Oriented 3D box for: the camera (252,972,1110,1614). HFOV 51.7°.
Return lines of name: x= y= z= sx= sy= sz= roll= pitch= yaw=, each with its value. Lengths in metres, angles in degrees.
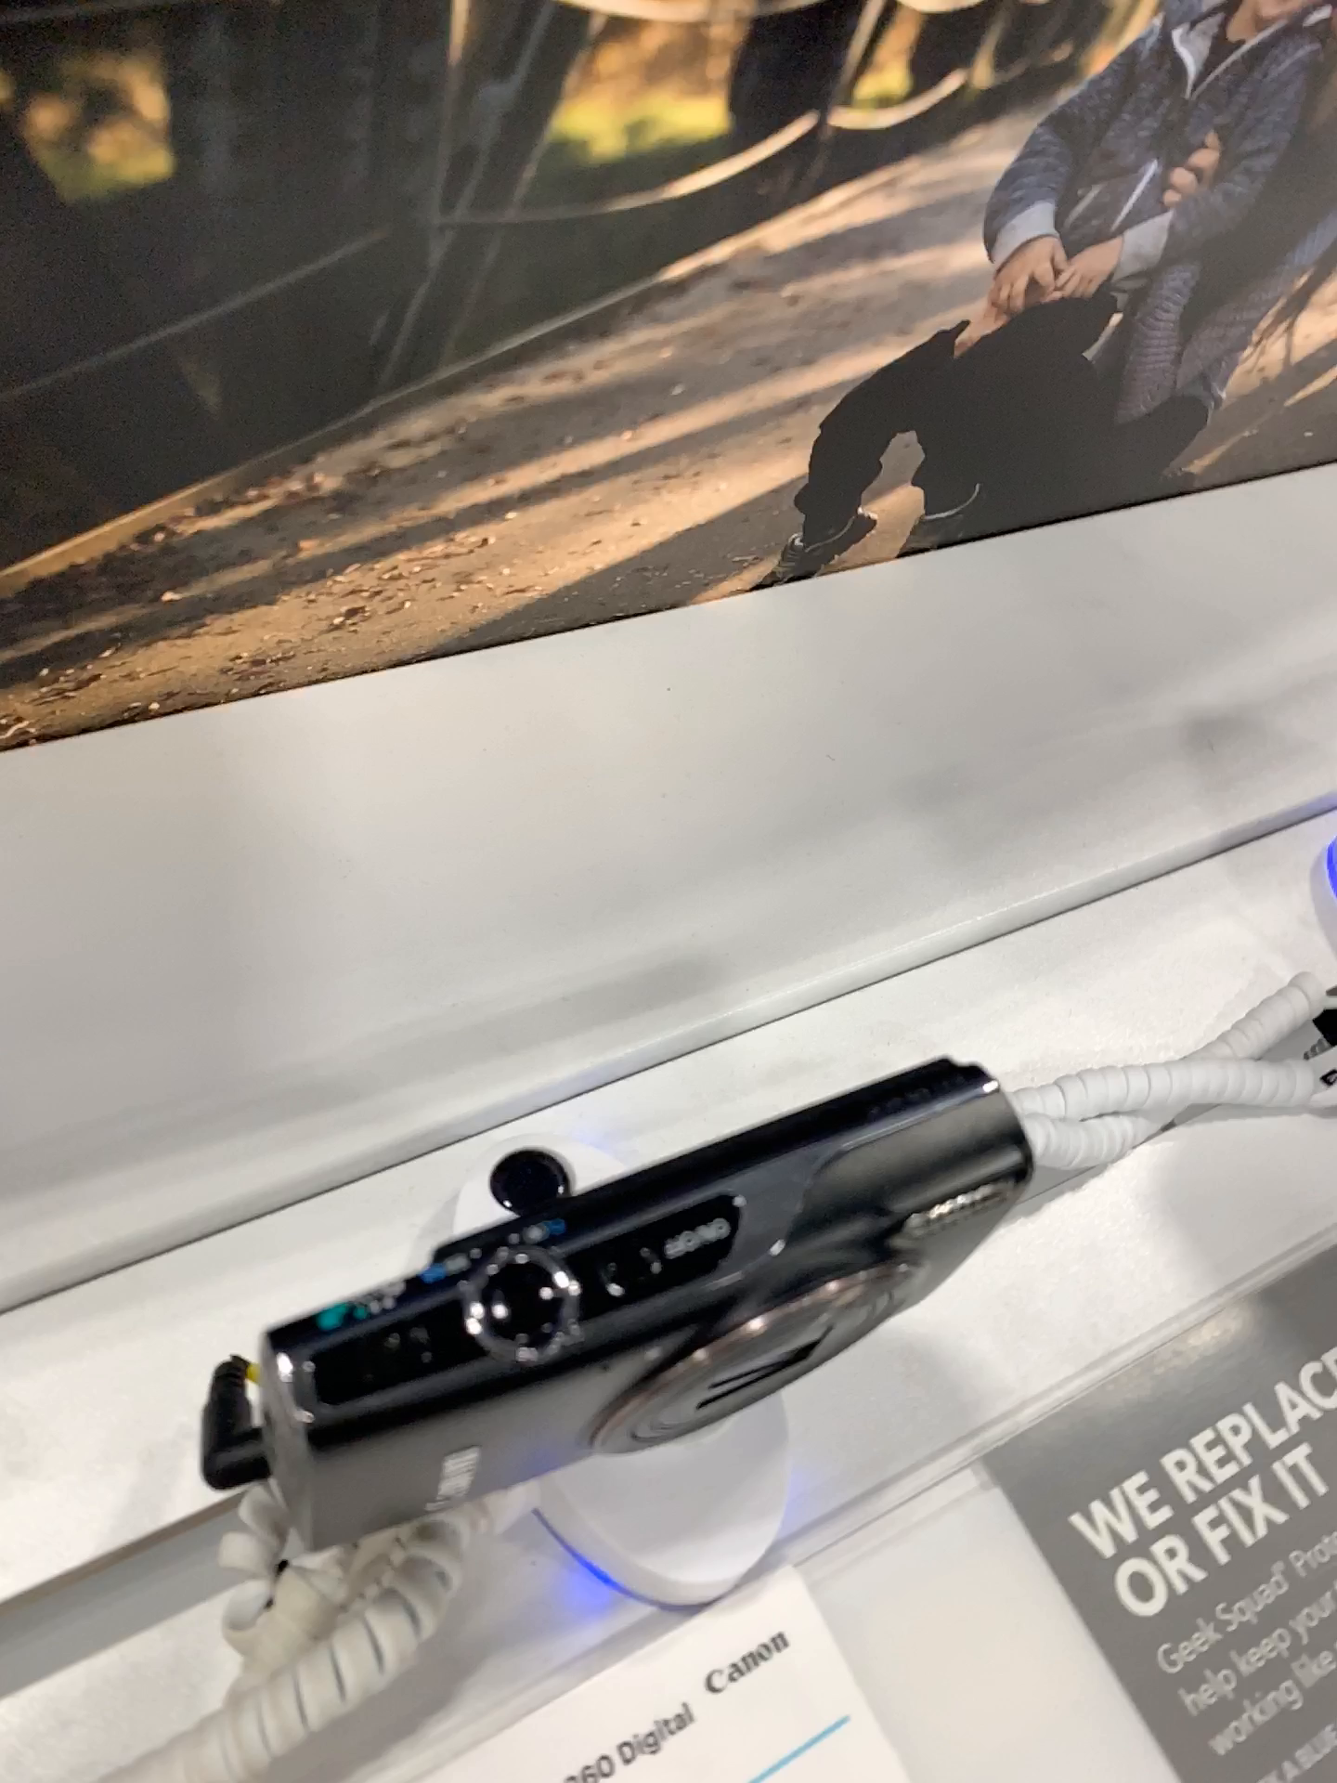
camera: x=0.001 y=0.053 z=0.187 sx=0.106 sy=0.055 sz=0.027 roll=-17 pitch=58 yaw=-26
